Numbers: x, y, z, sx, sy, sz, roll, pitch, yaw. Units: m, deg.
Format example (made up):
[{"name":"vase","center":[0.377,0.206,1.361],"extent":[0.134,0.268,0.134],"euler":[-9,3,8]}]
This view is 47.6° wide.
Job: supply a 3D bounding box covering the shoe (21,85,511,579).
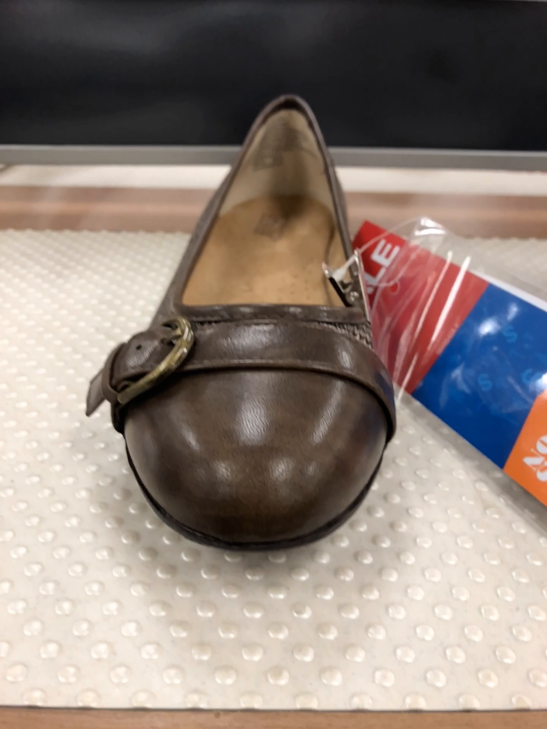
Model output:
[{"name":"shoe","center":[0.003,-0.054,0.257],"extent":[0.092,0.080,0.280],"euler":[2,31,1]}]
